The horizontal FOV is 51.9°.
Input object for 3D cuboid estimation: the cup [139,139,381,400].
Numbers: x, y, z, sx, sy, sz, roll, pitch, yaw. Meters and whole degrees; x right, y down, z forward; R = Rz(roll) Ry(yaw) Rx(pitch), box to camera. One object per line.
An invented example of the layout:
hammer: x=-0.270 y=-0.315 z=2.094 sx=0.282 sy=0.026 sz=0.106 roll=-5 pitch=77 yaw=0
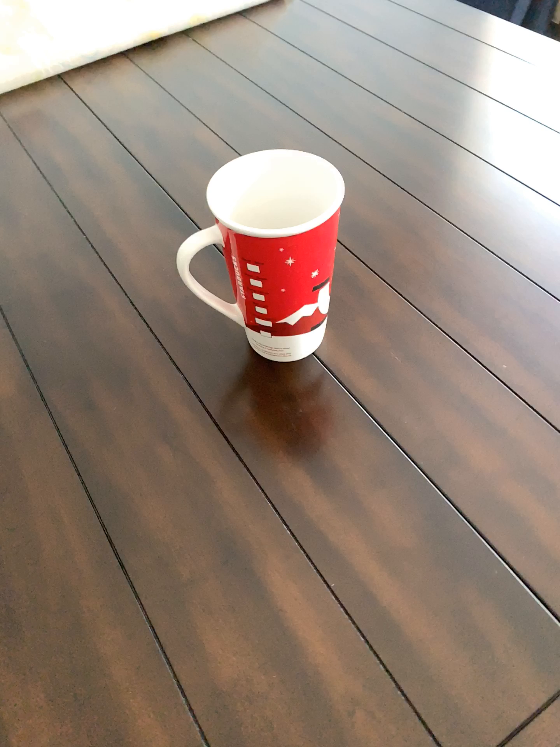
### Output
cup: x=-0.013 y=-0.084 z=0.459 sx=0.130 sy=0.120 sz=0.120 roll=-2 pitch=51 yaw=3

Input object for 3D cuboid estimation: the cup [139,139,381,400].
cup: x=-0.013 y=-0.084 z=0.459 sx=0.130 sy=0.120 sz=0.120 roll=-2 pitch=51 yaw=3
